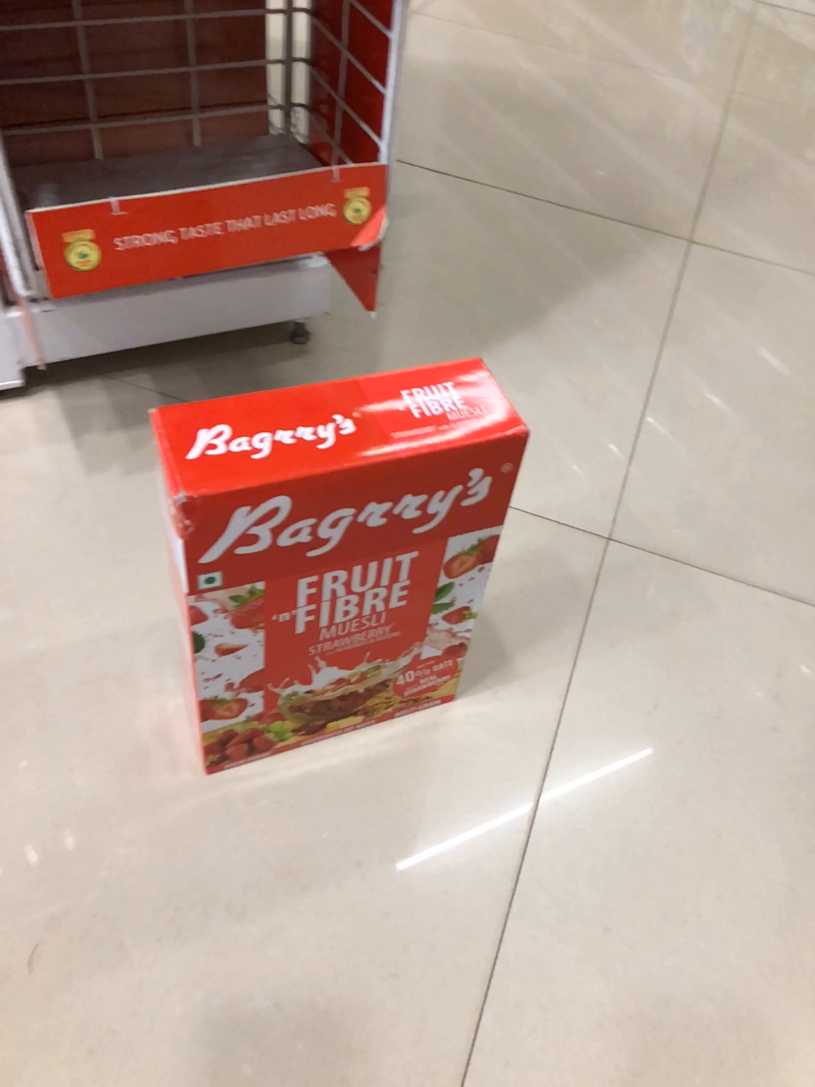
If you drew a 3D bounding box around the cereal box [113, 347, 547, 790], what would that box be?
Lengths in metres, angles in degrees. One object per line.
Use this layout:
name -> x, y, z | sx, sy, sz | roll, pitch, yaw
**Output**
cereal box -> -0.049, 0.025, 0.534 | 0.200, 0.258, 0.070 | -13, 51, -20
